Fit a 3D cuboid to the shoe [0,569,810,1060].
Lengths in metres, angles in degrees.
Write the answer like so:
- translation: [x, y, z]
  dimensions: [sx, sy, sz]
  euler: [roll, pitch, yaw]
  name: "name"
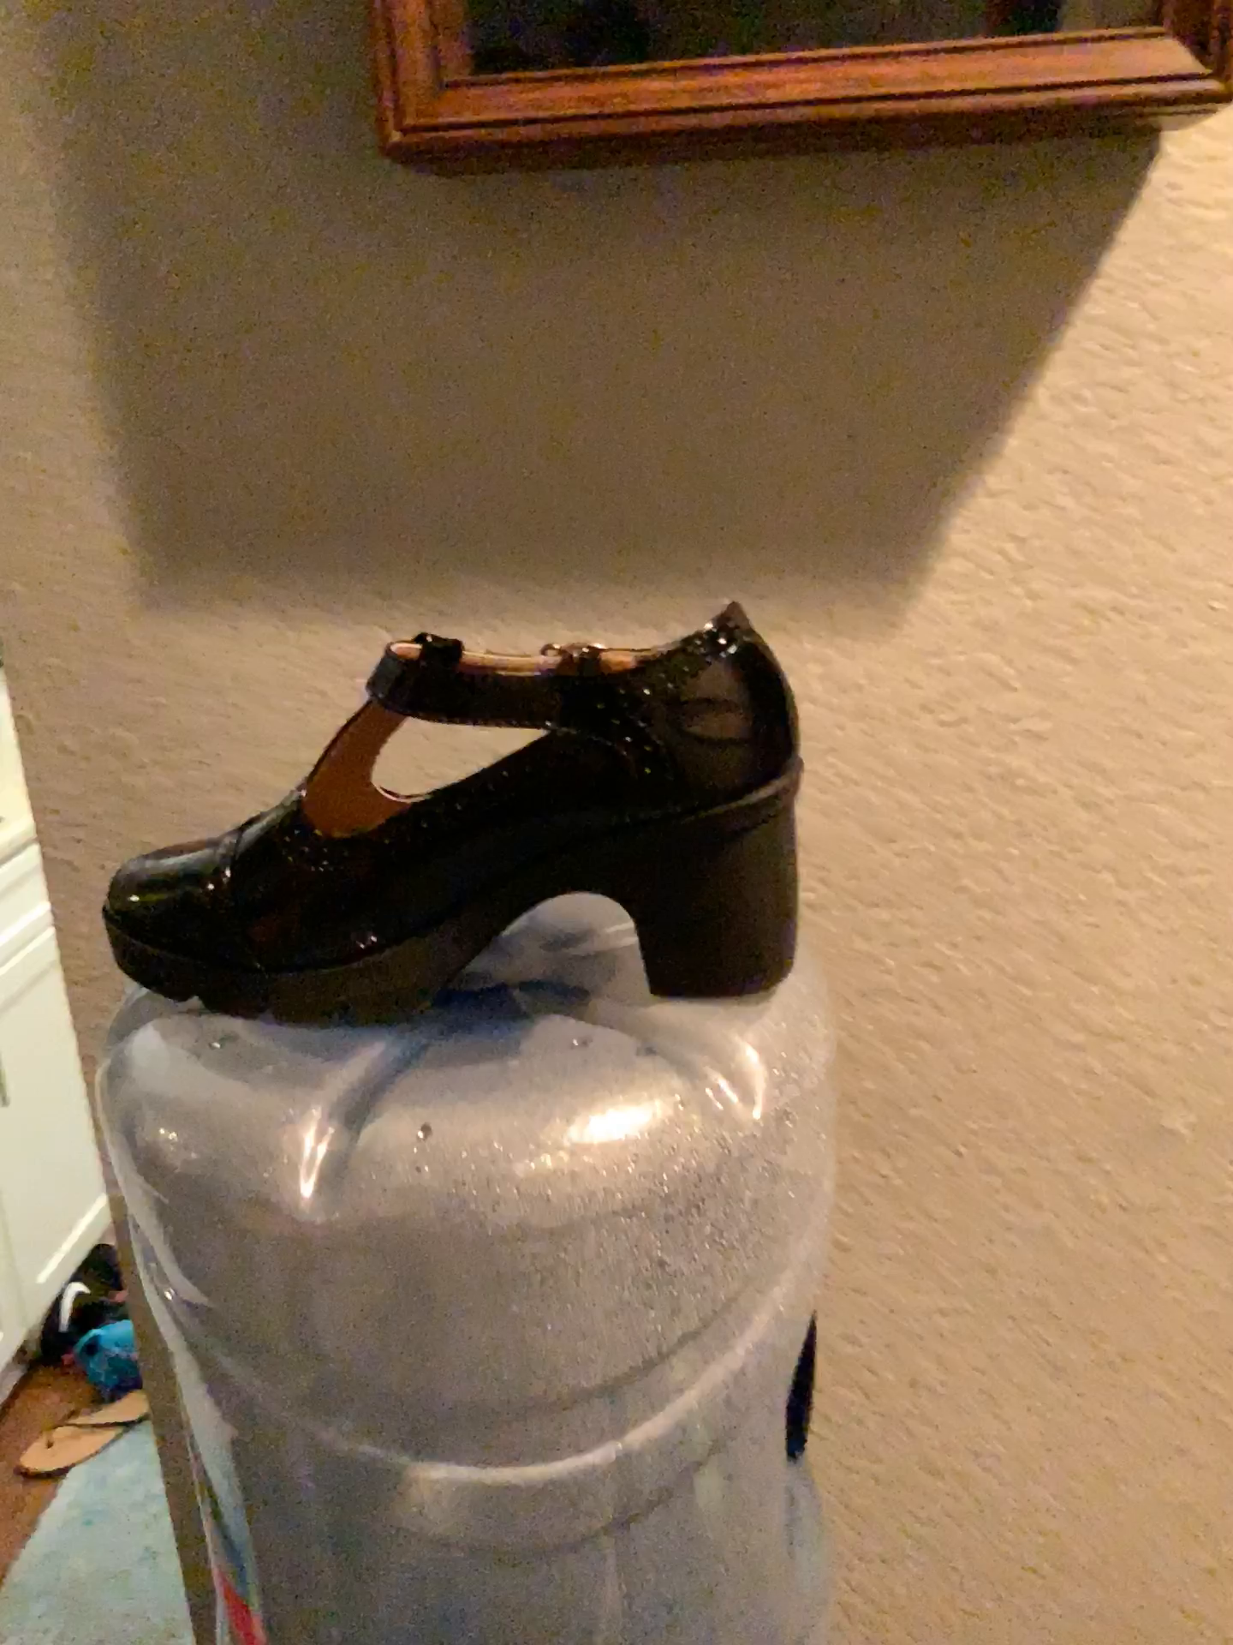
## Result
- translation: [-0.065, -0.012, 0.459]
  dimensions: [0.250, 0.120, 0.130]
  euler: [1, 19, 11]
  name: "shoe"
